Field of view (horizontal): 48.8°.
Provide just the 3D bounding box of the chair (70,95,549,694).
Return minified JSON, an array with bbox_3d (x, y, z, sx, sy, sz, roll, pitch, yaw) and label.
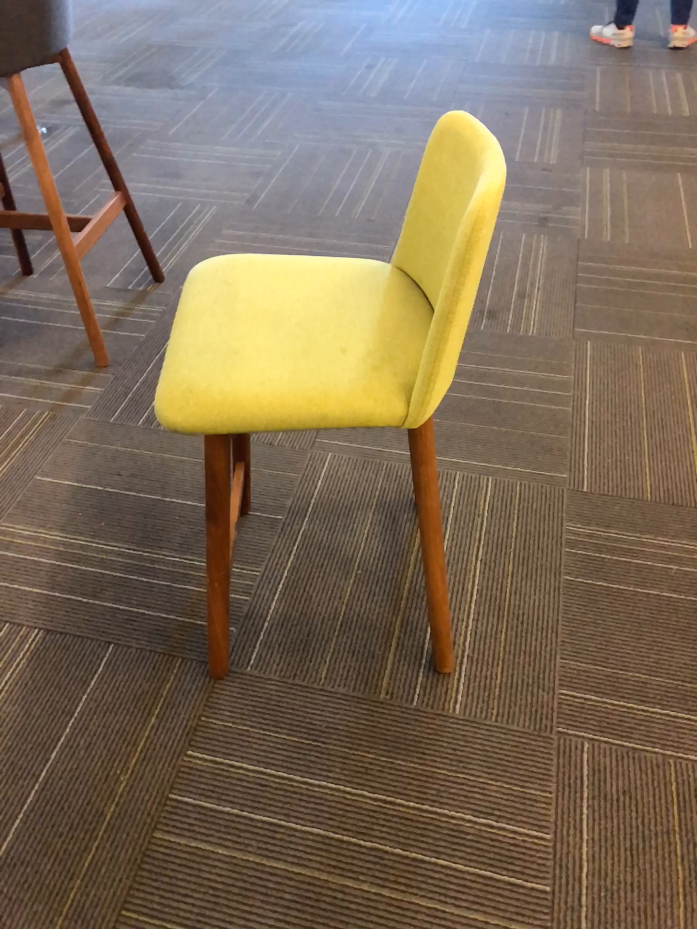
[{"bbox_3d":[-0.036,-0.068,1.283,0.510,0.876,0.462,-2,42,0],"label":"chair"}]
